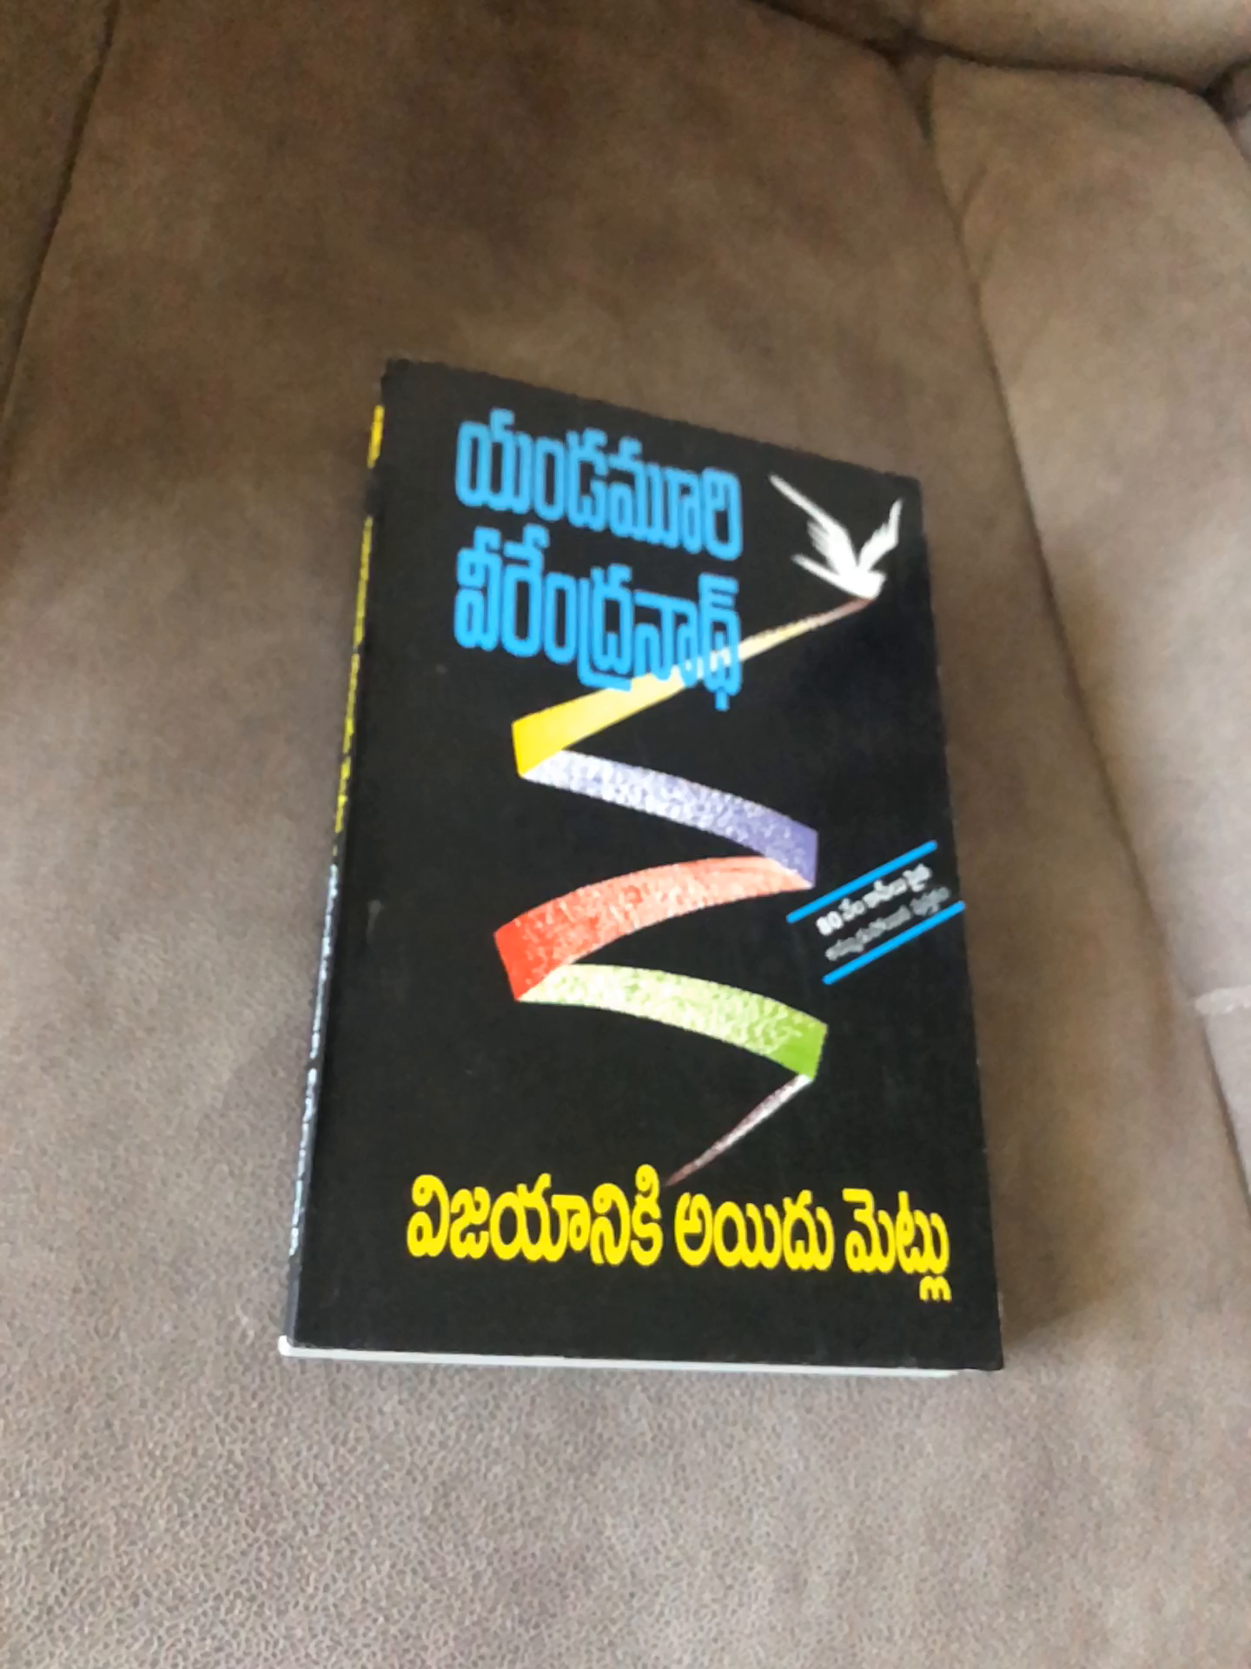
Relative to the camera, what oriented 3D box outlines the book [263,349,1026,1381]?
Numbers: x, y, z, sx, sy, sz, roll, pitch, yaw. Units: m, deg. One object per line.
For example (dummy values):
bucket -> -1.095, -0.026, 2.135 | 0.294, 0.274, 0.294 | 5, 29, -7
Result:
book -> 0.008, 0.003, 0.306 | 0.144, 0.026, 0.212 | 9, 65, -18
